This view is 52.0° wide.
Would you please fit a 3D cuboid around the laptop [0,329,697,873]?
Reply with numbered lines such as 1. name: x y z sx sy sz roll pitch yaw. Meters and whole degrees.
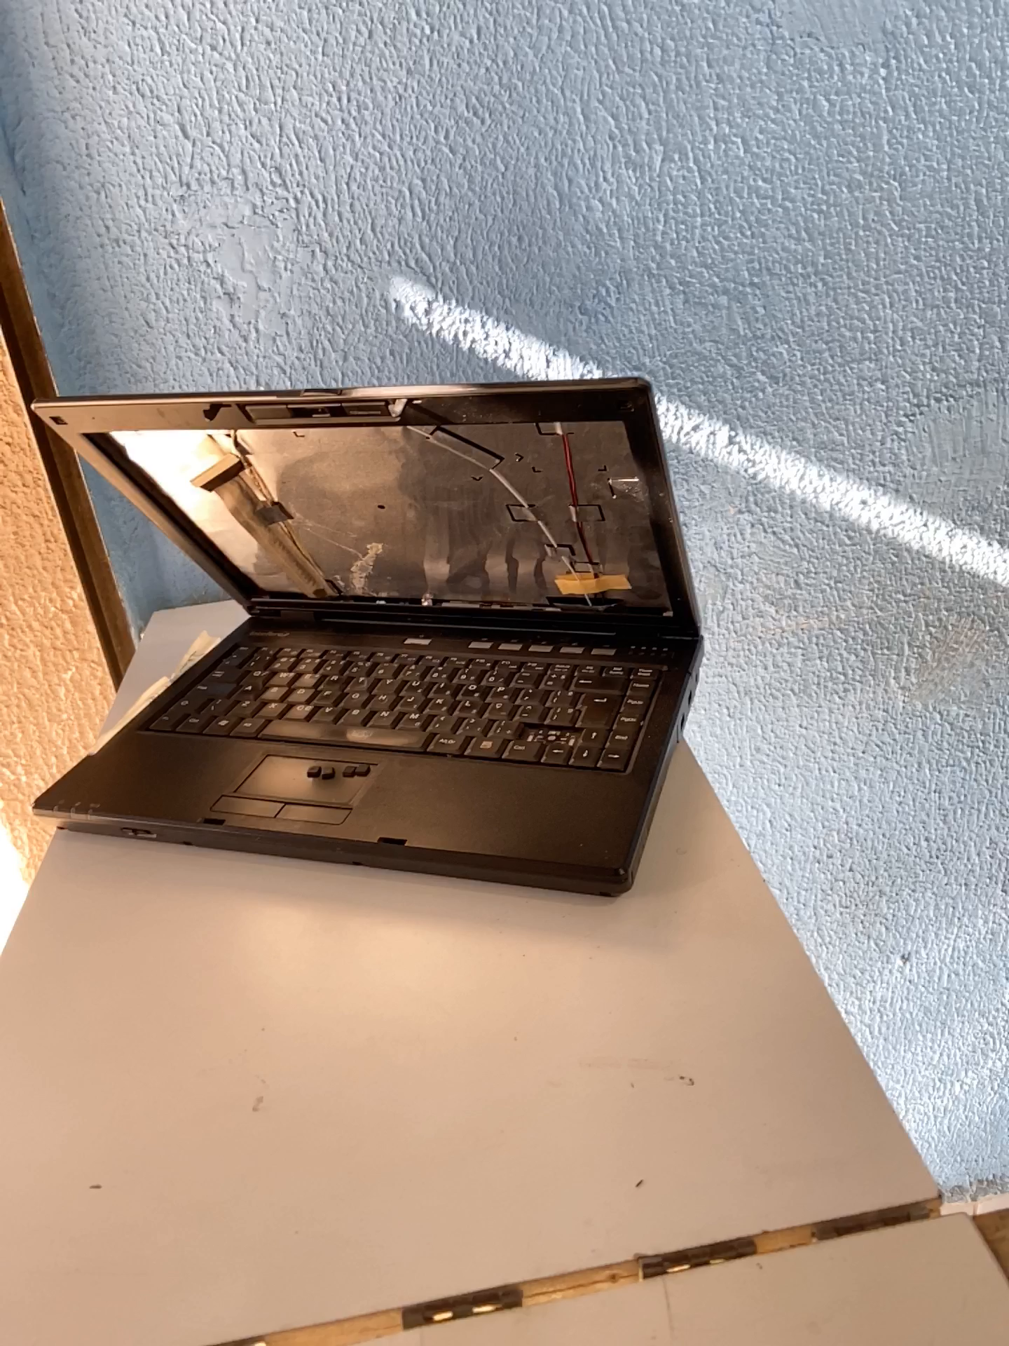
1. laptop: -0.077 -0.060 0.566 0.322 0.191 0.232 4 29 18
